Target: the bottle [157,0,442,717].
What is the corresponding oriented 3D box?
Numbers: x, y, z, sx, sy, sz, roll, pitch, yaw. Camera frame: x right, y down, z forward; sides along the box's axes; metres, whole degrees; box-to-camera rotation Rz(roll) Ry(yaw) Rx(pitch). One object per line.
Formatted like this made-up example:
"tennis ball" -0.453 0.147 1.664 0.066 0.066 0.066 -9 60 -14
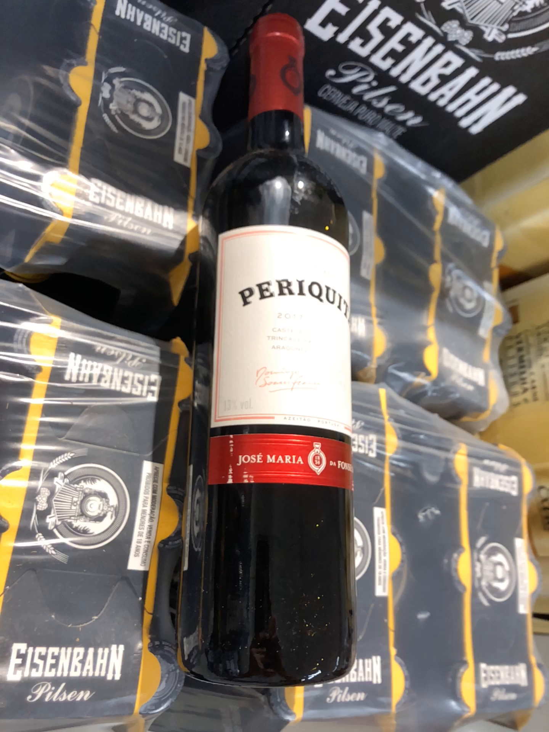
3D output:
"bottle" 0.010 -0.041 0.277 0.080 0.070 0.330 12 70 -33
